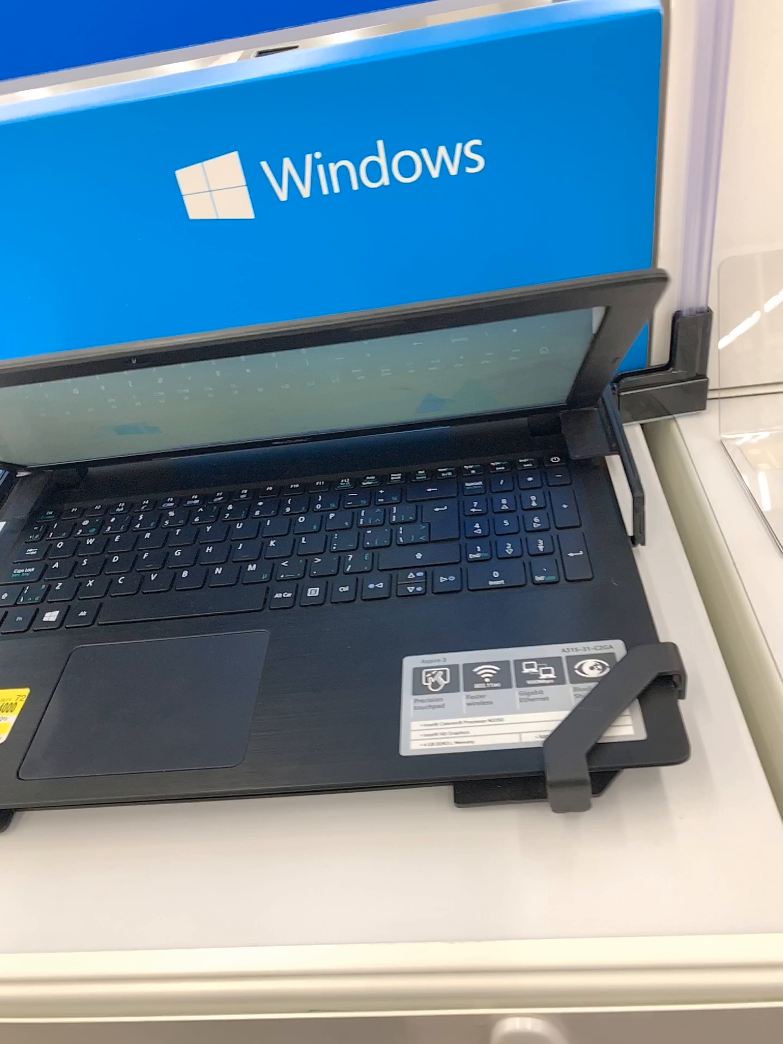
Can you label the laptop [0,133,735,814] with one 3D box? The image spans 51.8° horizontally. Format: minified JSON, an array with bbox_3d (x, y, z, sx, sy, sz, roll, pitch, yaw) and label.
[{"bbox_3d":[-0.072,-0.030,0.345,0.344,0.147,0.227,-6,39,7],"label":"laptop"}]
